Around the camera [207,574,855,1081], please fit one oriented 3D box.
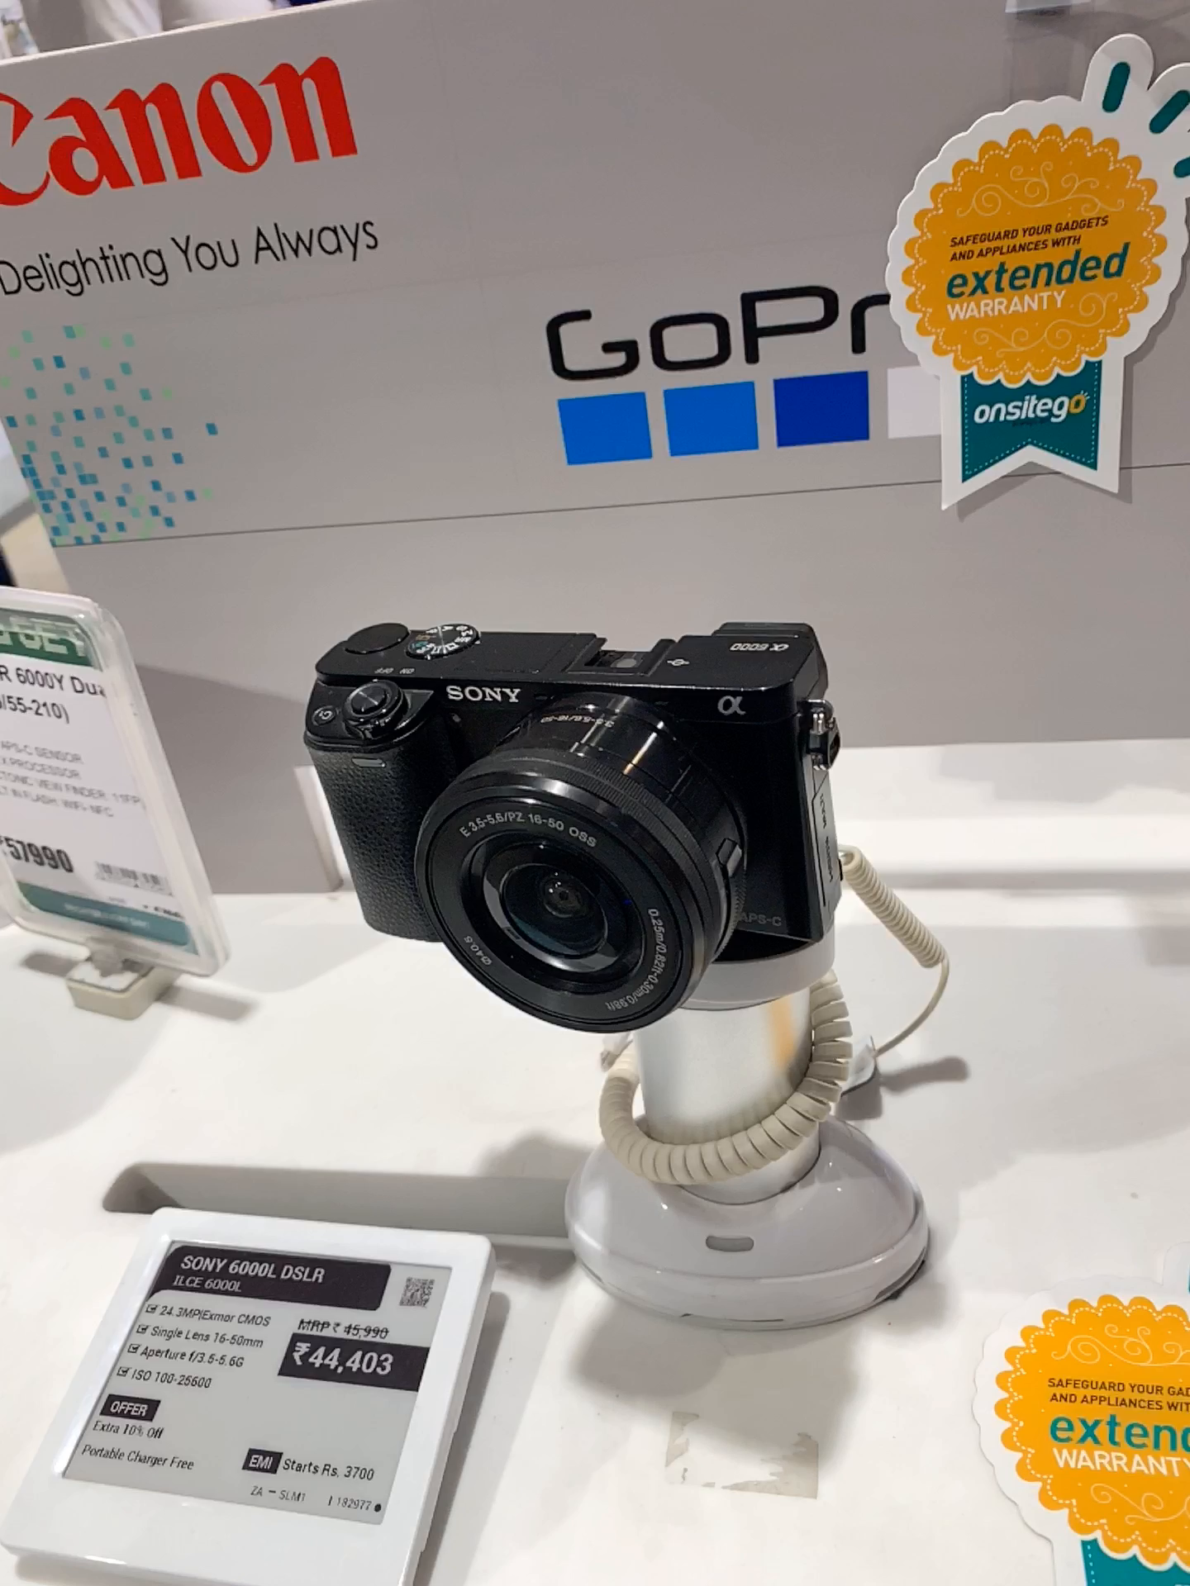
[{"bbox_3d":[-0.009,0.004,0.271,0.120,0.090,0.050,4,34,21],"label":"camera"}]
